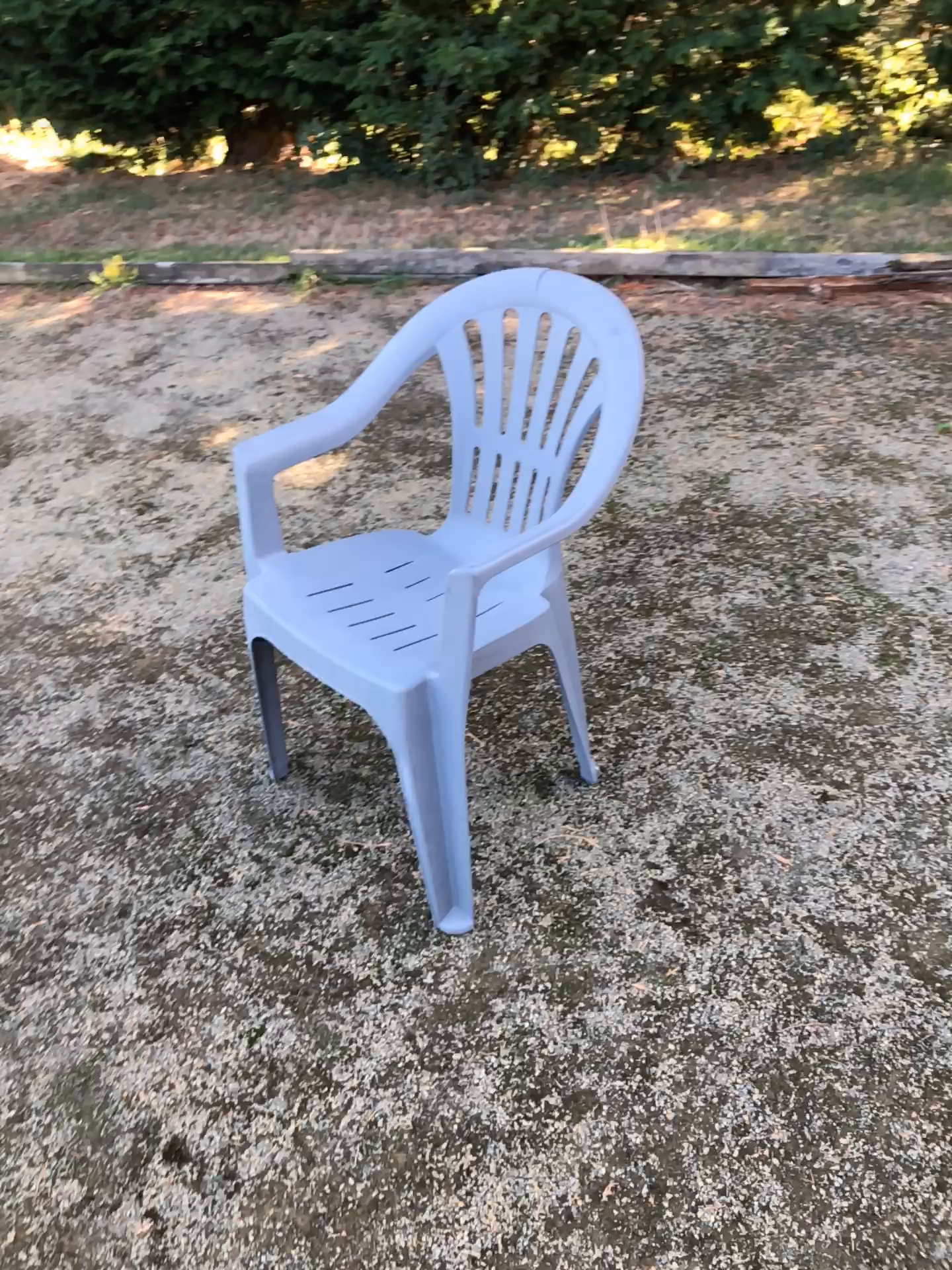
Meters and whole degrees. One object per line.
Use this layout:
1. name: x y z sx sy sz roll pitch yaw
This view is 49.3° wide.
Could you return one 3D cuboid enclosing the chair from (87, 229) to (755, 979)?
1. chair: -0.063 -0.098 1.576 0.623 0.775 0.631 -28 41 -30
